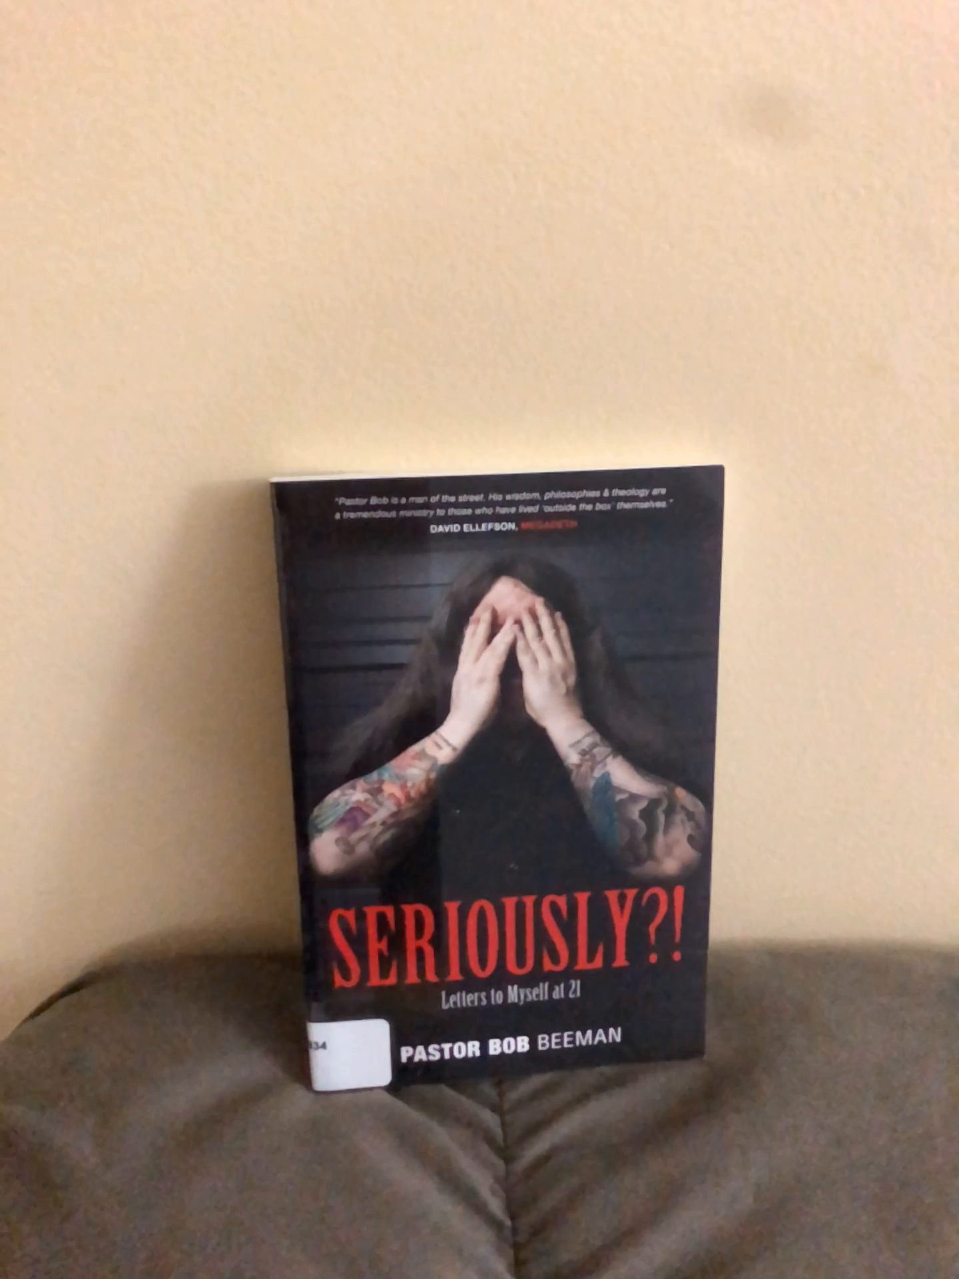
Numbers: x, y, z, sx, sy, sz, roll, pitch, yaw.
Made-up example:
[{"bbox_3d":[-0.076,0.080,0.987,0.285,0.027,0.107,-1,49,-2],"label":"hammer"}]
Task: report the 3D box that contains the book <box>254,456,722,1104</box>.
[{"bbox_3d":[0.006,0.048,0.344,0.136,0.205,0.023,-3,15,-6],"label":"book"}]
